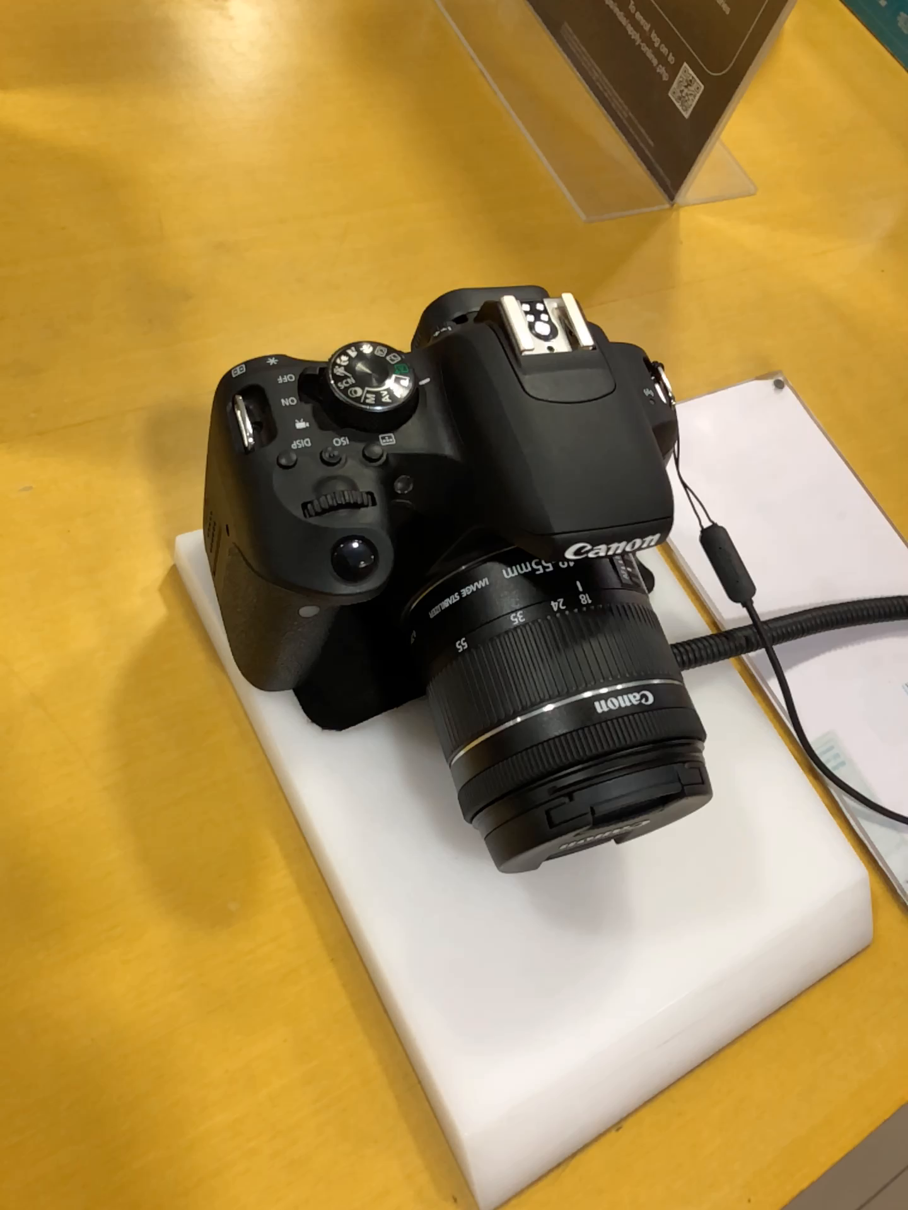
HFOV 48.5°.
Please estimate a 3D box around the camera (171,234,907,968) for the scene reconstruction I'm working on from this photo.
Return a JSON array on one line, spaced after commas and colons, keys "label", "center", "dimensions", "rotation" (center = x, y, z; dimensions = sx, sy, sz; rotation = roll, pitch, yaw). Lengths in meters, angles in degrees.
[{"label": "camera", "center": [0.011, -0.005, 0.237], "dimensions": [0.120, 0.090, 0.130], "rotation": [-9, 67, -24]}]
